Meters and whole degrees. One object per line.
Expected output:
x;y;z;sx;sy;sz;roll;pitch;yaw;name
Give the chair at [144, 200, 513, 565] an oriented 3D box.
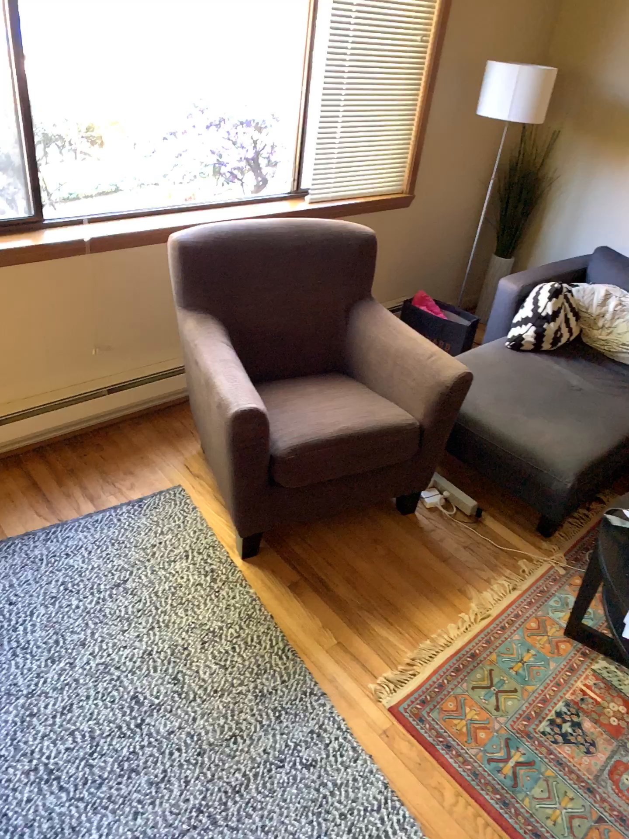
-0.027;-0.203;2.227;0.881;0.875;0.804;-11;35;-26;chair
